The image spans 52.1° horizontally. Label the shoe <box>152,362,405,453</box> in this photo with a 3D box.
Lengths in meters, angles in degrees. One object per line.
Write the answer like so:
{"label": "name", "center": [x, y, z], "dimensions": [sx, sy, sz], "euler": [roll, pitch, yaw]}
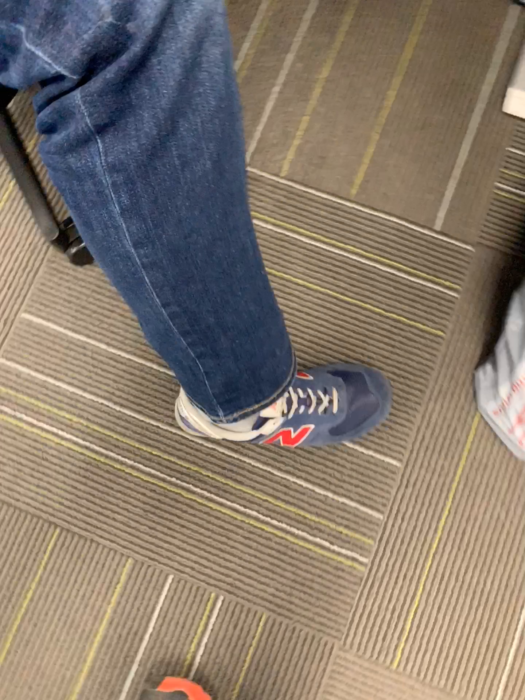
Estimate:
{"label": "shoe", "center": [0.021, 0.081, 0.729], "dimensions": [0.307, 0.139, 0.108], "euler": [-1, 81, 2]}
